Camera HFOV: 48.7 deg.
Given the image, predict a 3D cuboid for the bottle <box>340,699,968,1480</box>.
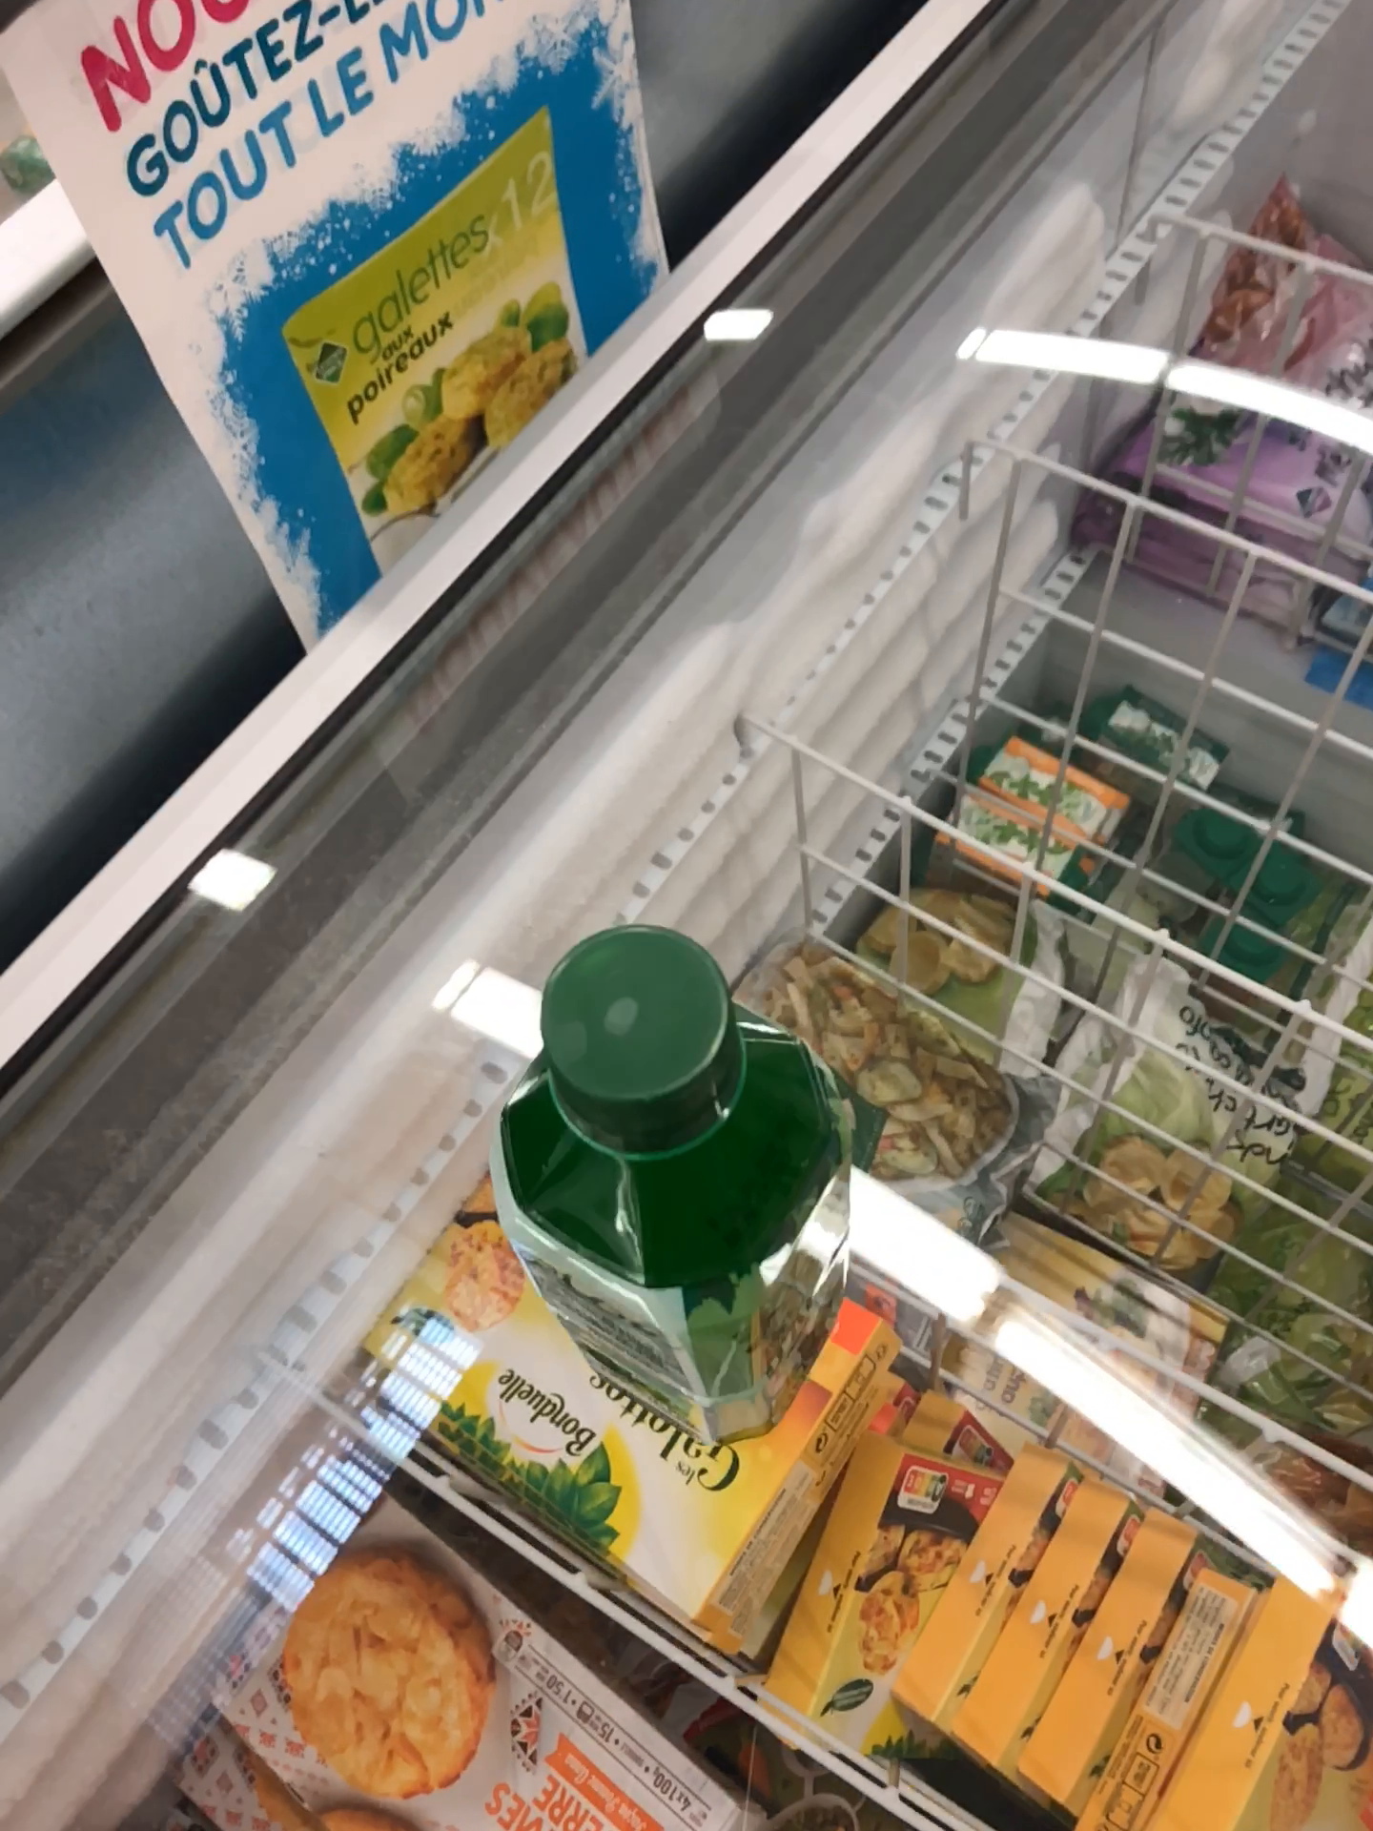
[{"bbox_3d":[0.005,0.053,0.317,0.070,0.199,0.070,-3,61,5],"label":"bottle"}]
